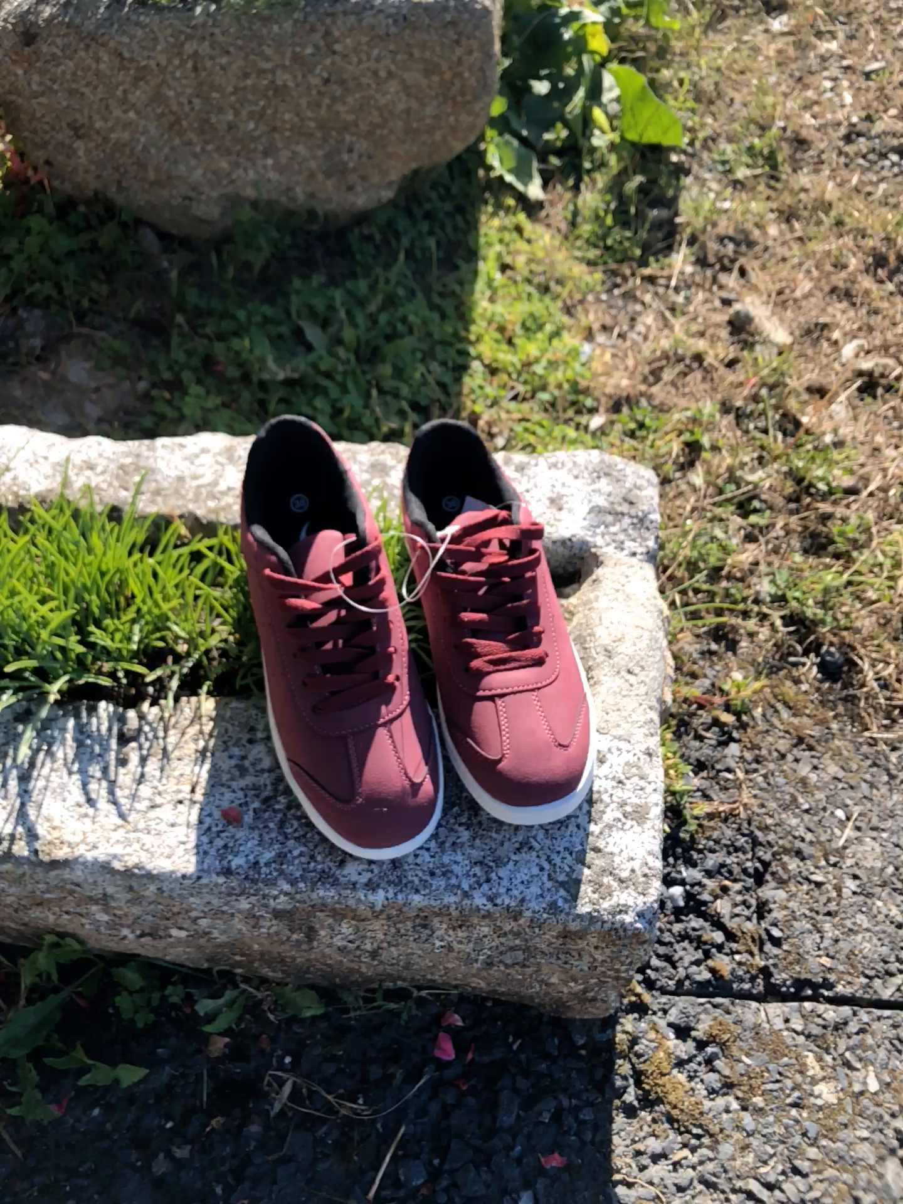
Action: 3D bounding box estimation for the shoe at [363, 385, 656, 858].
[{"bbox_3d":[0.022,-0.001,0.571,0.100,0.080,0.261,-11,52,-5],"label":"shoe"}]

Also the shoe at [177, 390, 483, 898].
[{"bbox_3d":[-0.072,0.017,0.564,0.100,0.080,0.261,-16,64,-8],"label":"shoe"}]
